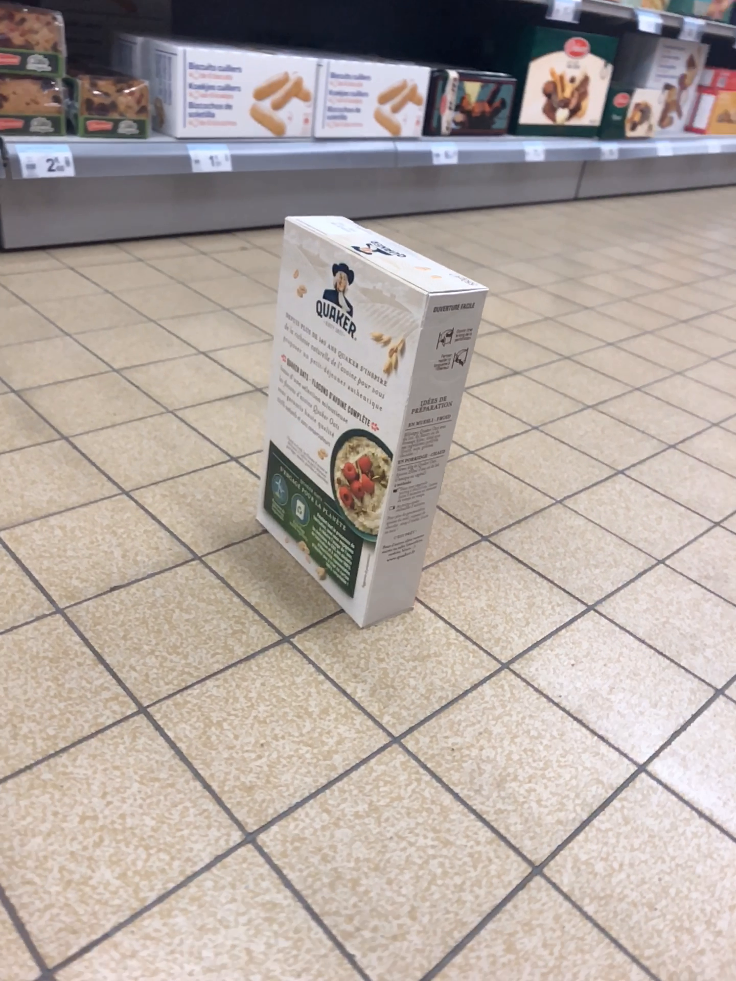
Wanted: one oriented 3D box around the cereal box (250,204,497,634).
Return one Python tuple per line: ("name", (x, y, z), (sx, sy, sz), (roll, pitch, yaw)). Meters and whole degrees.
("cereal box", (-0.011, -0.047, 0.523), (0.050, 0.229, 0.150), (-14, 38, -34))
